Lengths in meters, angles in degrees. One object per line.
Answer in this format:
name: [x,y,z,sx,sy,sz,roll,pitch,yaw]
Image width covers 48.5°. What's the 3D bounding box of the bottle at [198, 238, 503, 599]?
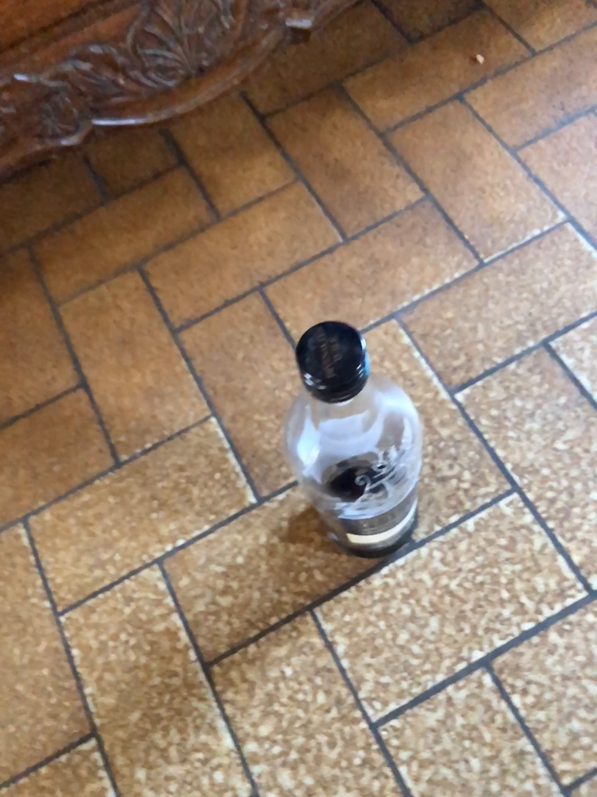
bottle: [0.042,0.043,0.413,0.090,0.299,0.090,-3,67,8]
